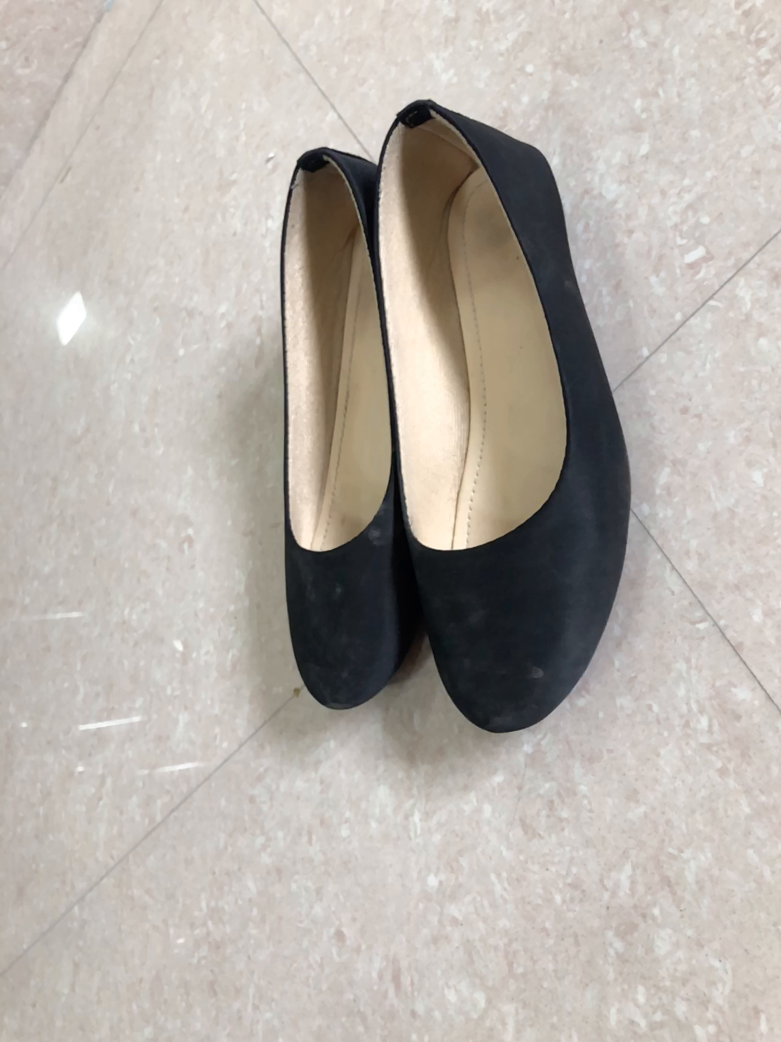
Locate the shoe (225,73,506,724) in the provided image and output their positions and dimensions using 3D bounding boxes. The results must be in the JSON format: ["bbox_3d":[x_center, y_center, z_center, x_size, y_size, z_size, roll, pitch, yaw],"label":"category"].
[{"bbox_3d":[-0.009,-0.045,0.377,0.091,0.060,0.250,-5,79,43],"label":"shoe"}]

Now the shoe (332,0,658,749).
[{"bbox_3d":[0.032,-0.046,0.323,0.091,0.060,0.250,-13,73,42],"label":"shoe"}]
